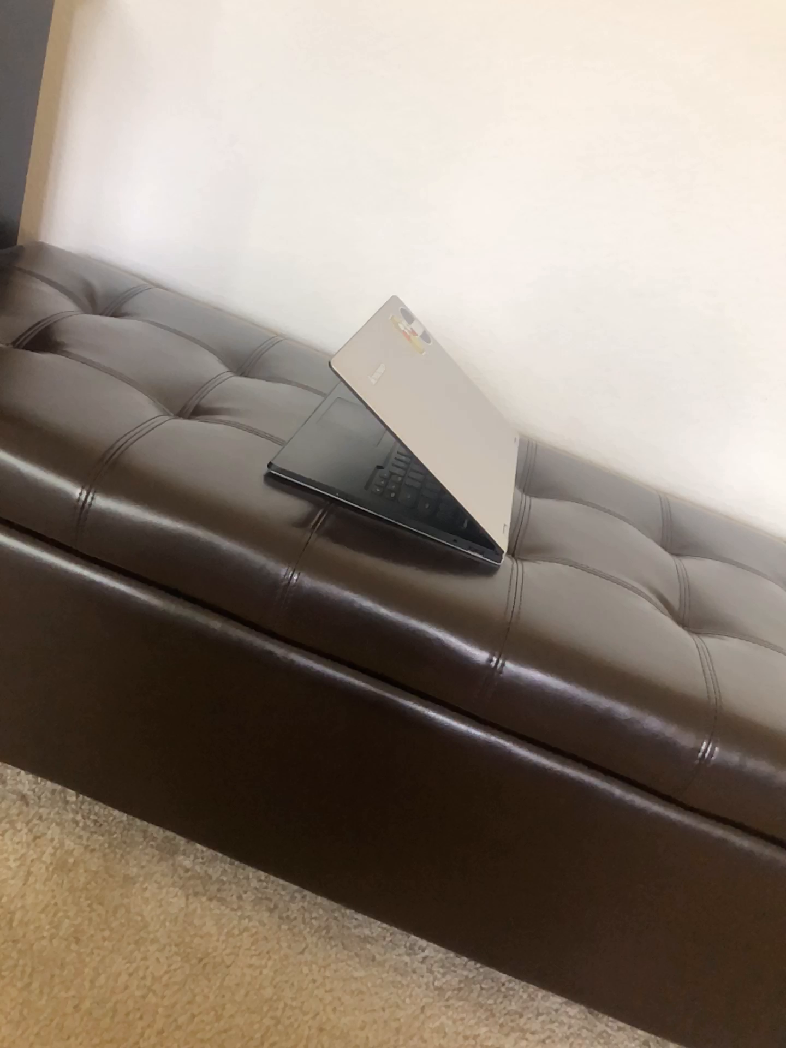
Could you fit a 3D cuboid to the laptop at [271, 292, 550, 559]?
[{"bbox_3d":[0.034,-0.109,0.804,0.197,0.097,0.294,22,26,1],"label":"laptop"}]
